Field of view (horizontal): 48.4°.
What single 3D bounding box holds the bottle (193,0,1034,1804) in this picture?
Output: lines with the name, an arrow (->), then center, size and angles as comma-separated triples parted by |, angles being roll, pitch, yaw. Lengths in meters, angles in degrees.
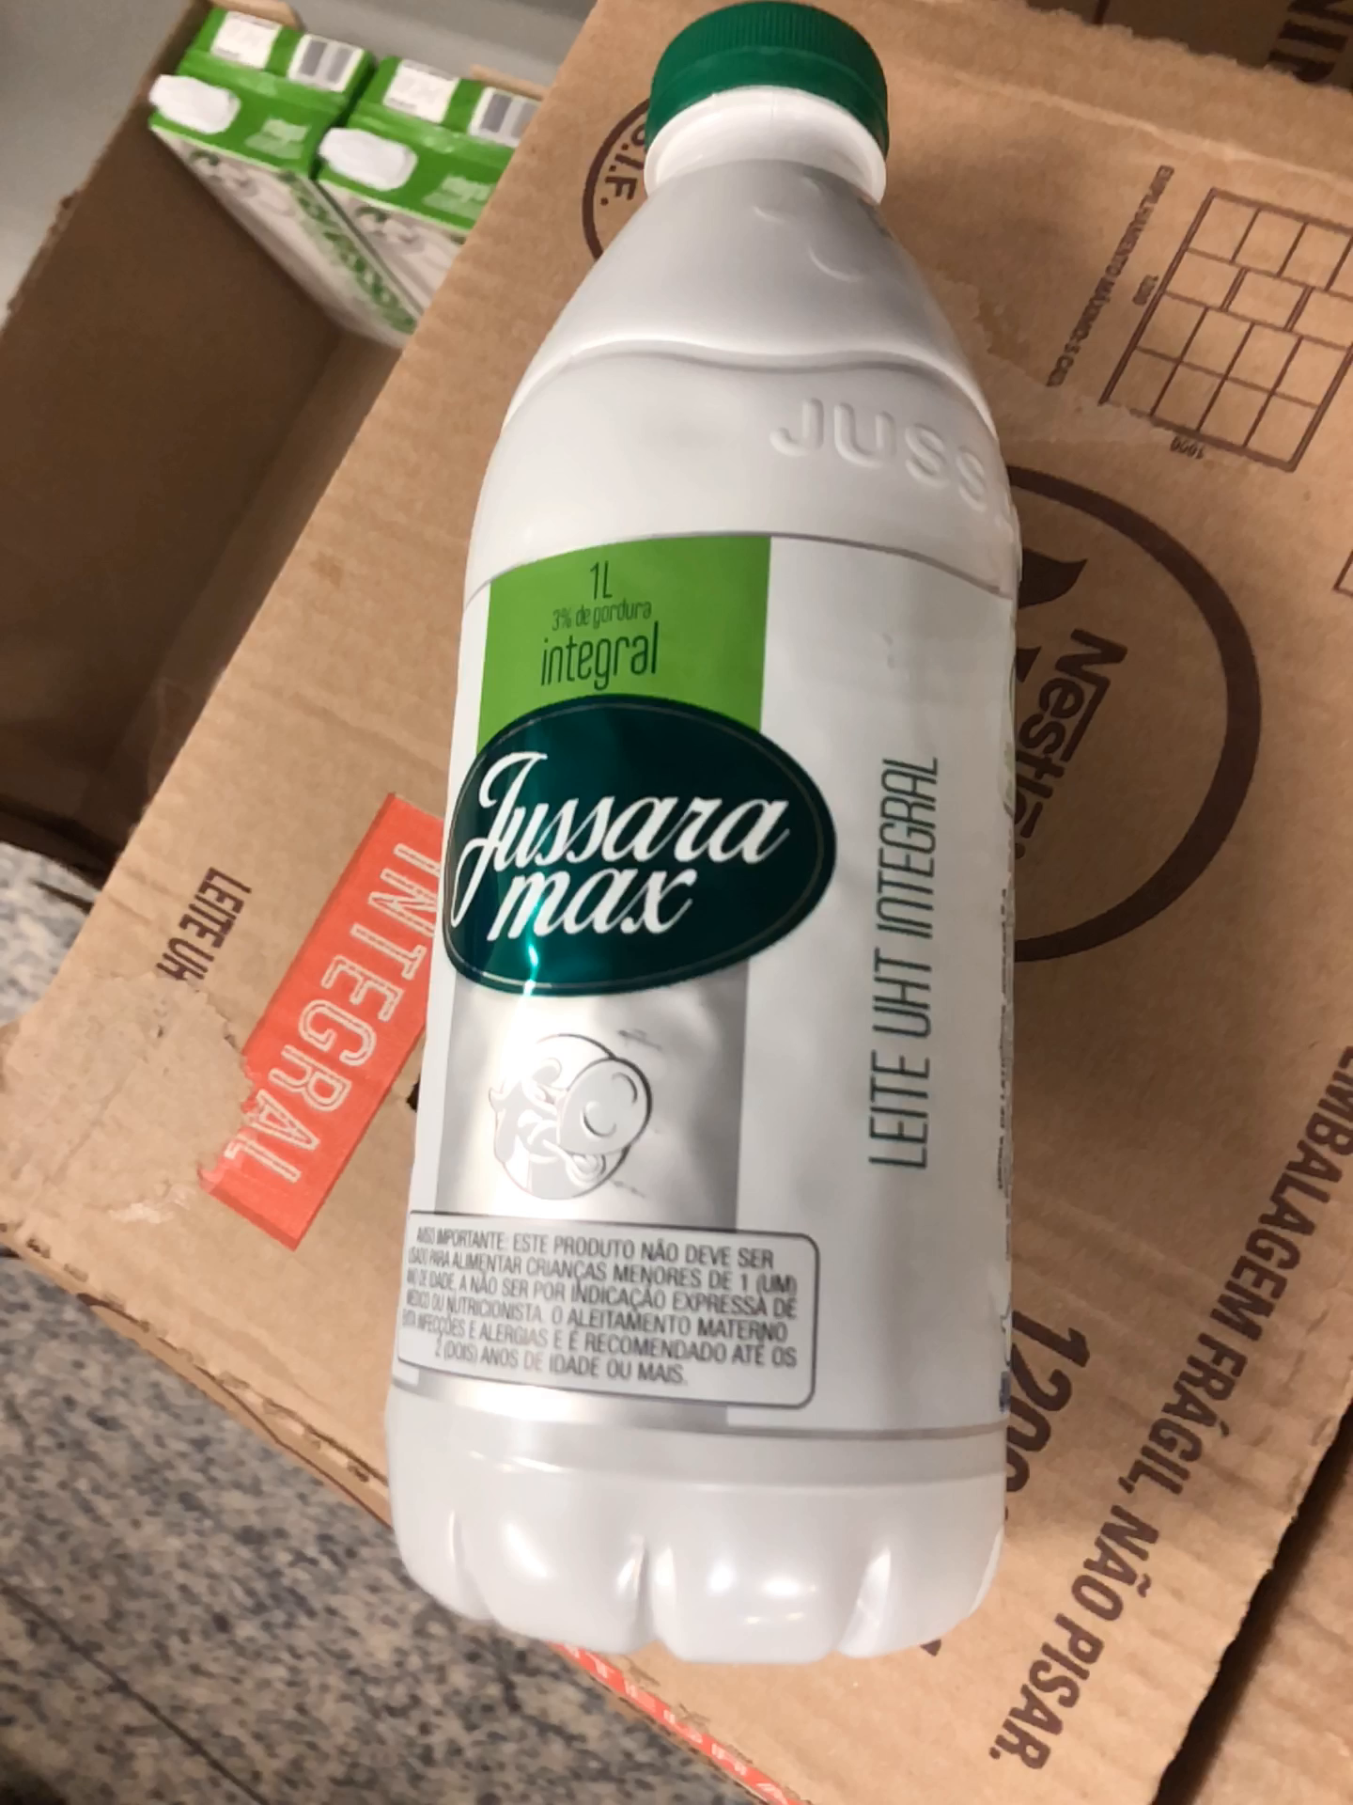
bottle -> -0.001, -0.020, 0.204 | 0.090, 0.060, 0.240 | 0, 84, 18
